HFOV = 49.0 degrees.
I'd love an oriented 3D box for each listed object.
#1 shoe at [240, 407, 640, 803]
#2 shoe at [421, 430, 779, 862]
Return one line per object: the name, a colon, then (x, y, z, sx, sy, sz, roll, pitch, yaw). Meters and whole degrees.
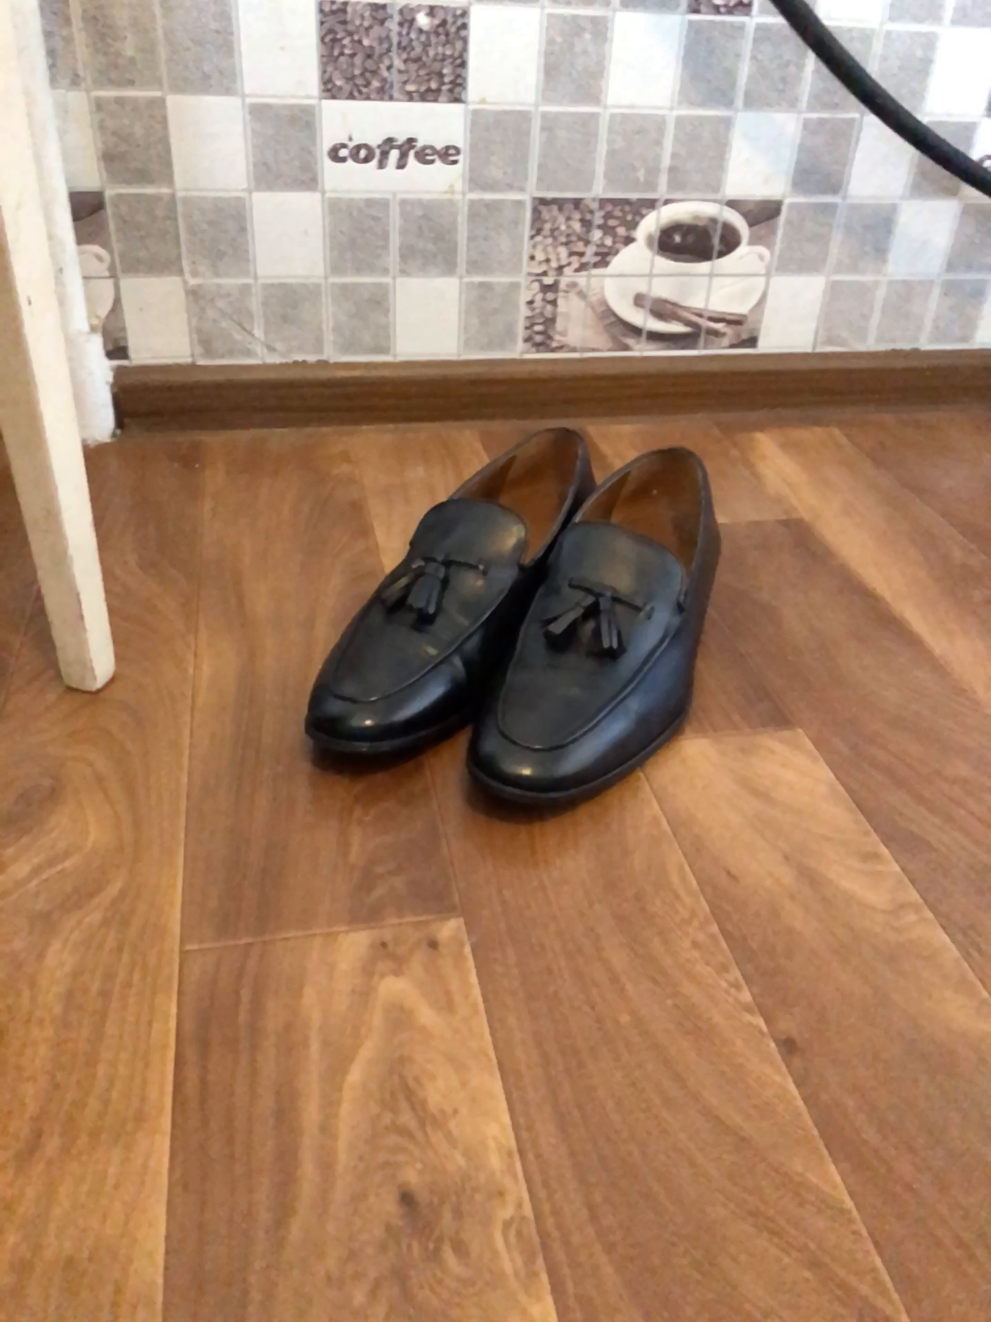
shoe: (-0.013, -0.046, 0.547, 0.100, 0.068, 0.255, 14, 36, 17)
shoe: (0.061, -0.026, 0.521, 0.100, 0.068, 0.255, 13, 35, 16)
